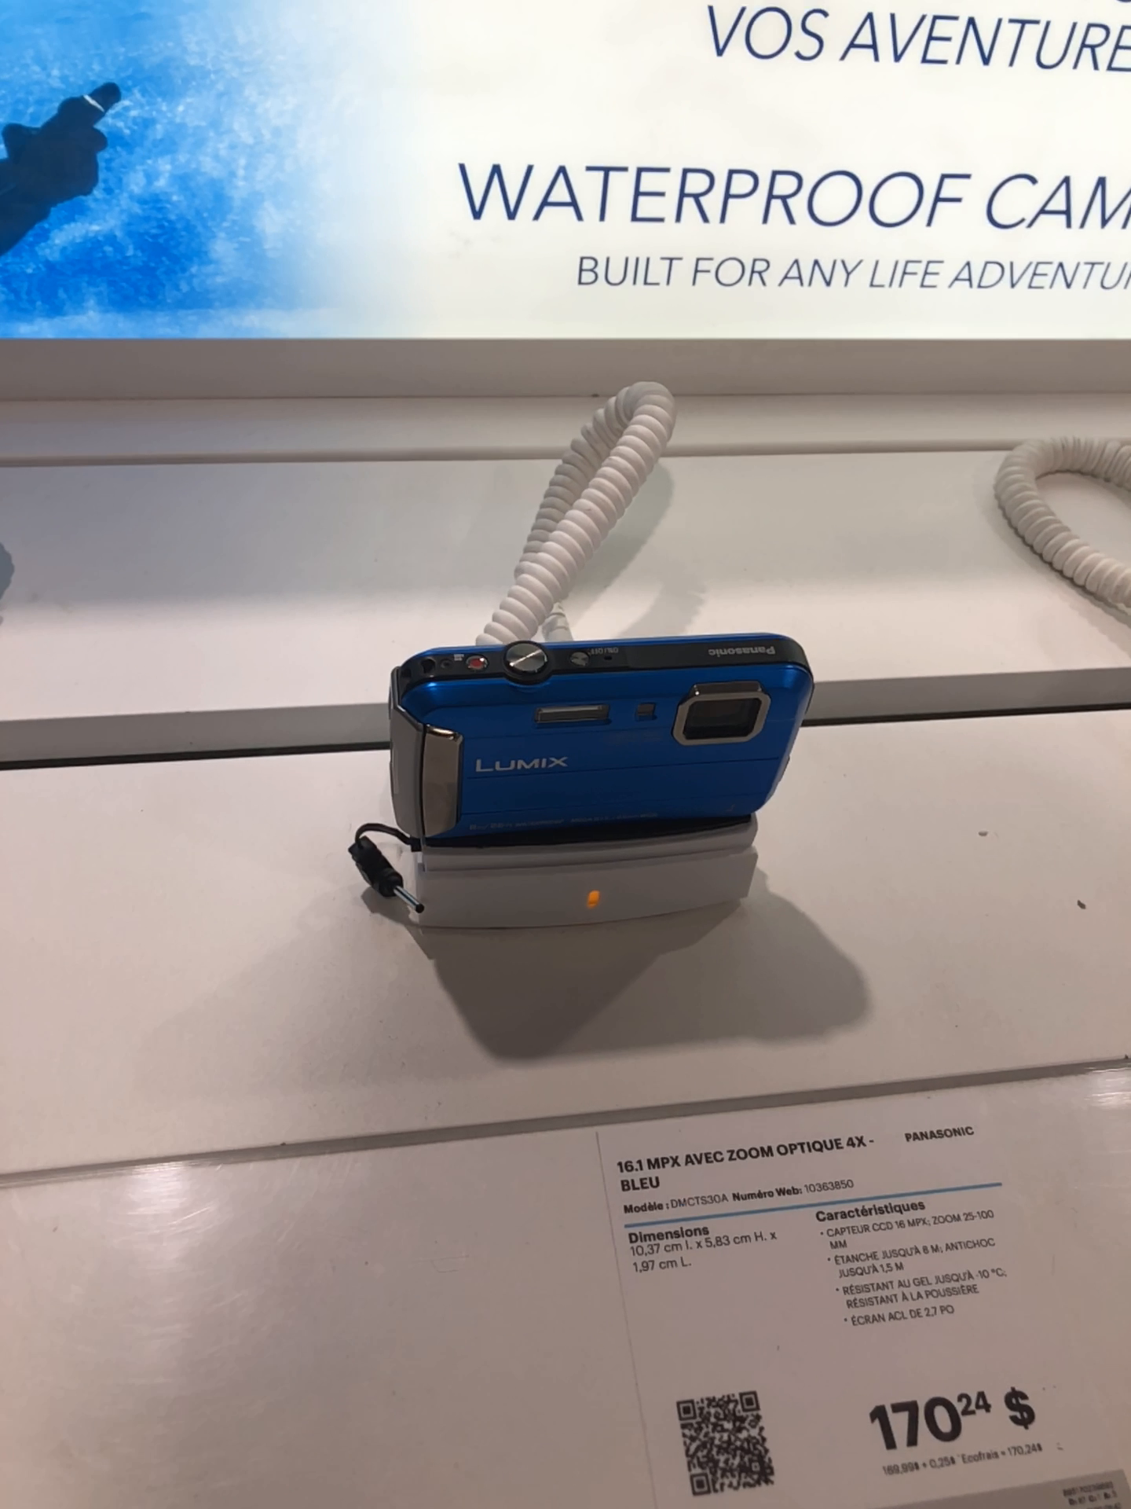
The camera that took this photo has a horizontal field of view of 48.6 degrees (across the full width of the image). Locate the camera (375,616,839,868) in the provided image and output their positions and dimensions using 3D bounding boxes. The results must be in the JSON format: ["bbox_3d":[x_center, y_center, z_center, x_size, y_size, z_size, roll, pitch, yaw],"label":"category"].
[{"bbox_3d":[0.008,-0.002,0.311,0.106,0.060,0.020,-4,48,-10],"label":"camera"}]
